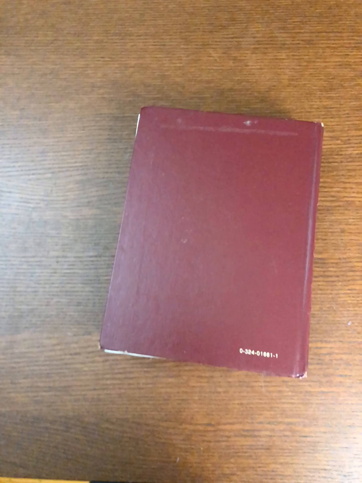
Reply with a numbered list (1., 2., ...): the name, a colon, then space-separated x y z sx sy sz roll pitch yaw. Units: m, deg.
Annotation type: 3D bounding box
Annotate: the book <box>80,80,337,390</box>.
1. book: 0.036 -0.015 0.428 0.220 0.070 0.290 7 77 5
